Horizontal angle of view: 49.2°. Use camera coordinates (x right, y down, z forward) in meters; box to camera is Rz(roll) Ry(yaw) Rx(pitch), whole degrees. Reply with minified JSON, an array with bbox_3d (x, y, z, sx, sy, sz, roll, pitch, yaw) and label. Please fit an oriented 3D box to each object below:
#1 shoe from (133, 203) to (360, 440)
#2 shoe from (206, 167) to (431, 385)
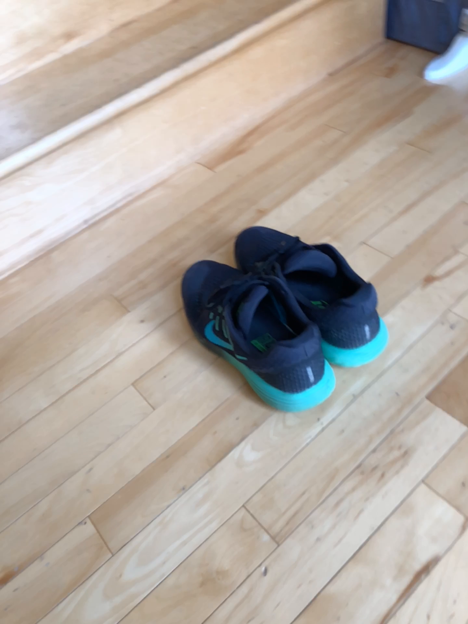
[{"bbox_3d":[0.007,-0.005,0.628,0.120,0.100,0.291,-33,50,-15],"label":"shoe"},{"bbox_3d":[0.095,-0.062,0.663,0.120,0.100,0.291,-30,49,-14],"label":"shoe"}]
